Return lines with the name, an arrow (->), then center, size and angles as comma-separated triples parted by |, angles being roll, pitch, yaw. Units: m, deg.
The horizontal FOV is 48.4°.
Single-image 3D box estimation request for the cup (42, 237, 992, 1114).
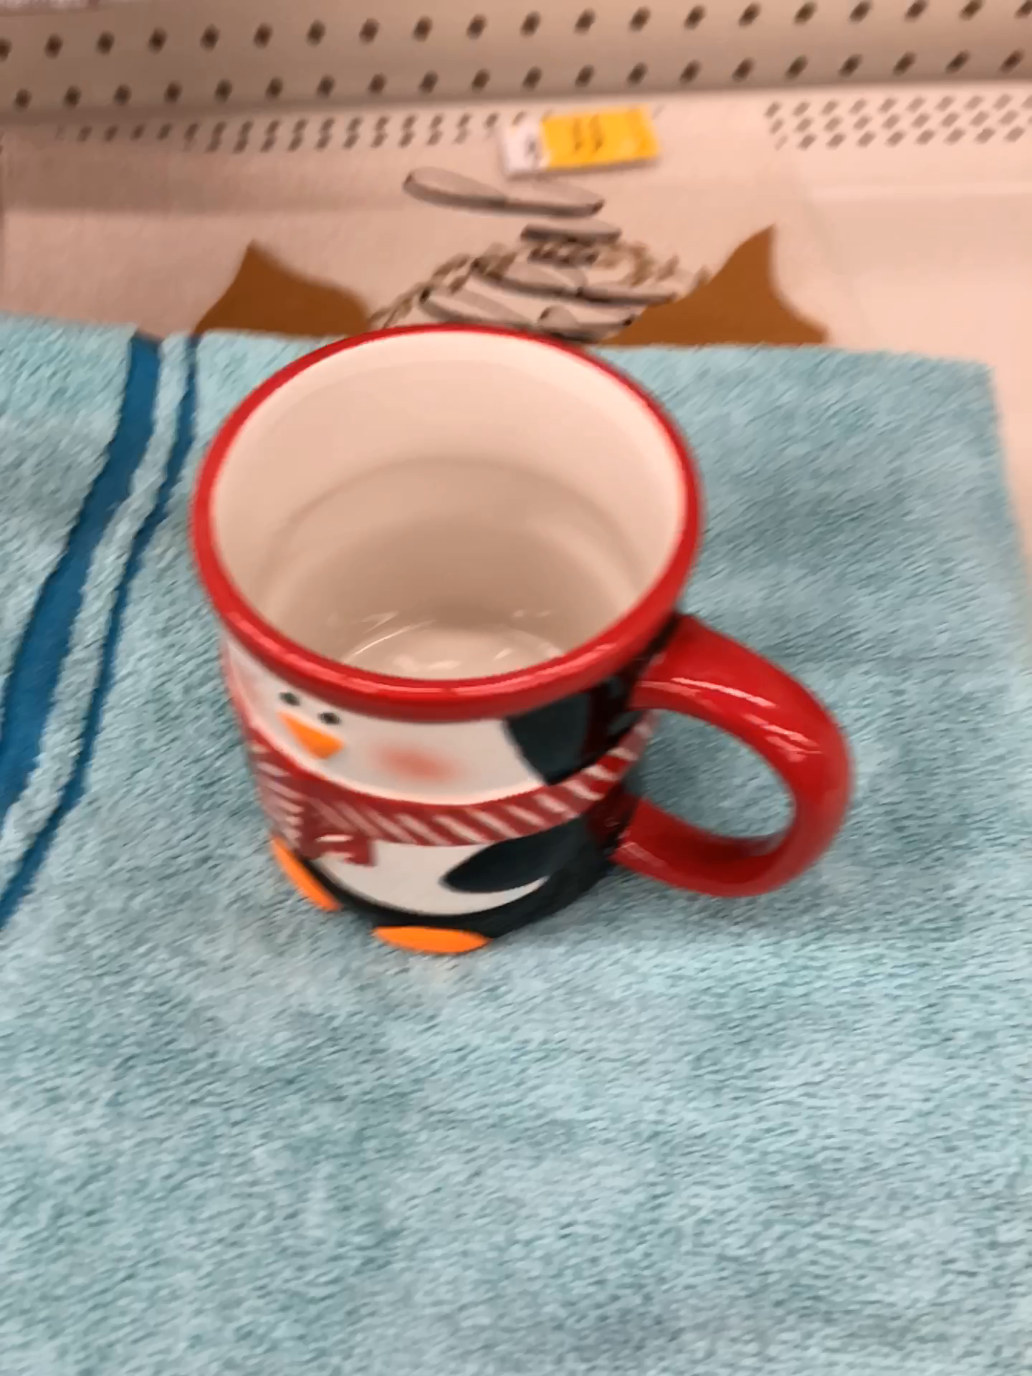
cup -> 0.002, 0.000, 0.235 | 0.130, 0.110, 0.090 | 25, 58, 15
